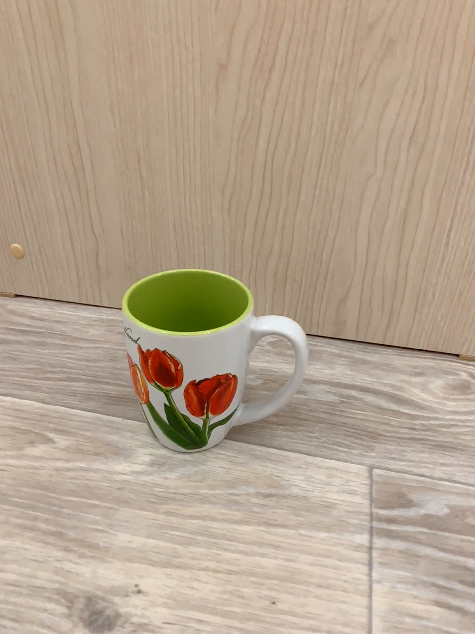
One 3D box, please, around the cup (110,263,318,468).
[{"bbox_3d":[-0.012,0.031,0.337,0.118,0.101,0.084,4,31,4],"label":"cup"}]
